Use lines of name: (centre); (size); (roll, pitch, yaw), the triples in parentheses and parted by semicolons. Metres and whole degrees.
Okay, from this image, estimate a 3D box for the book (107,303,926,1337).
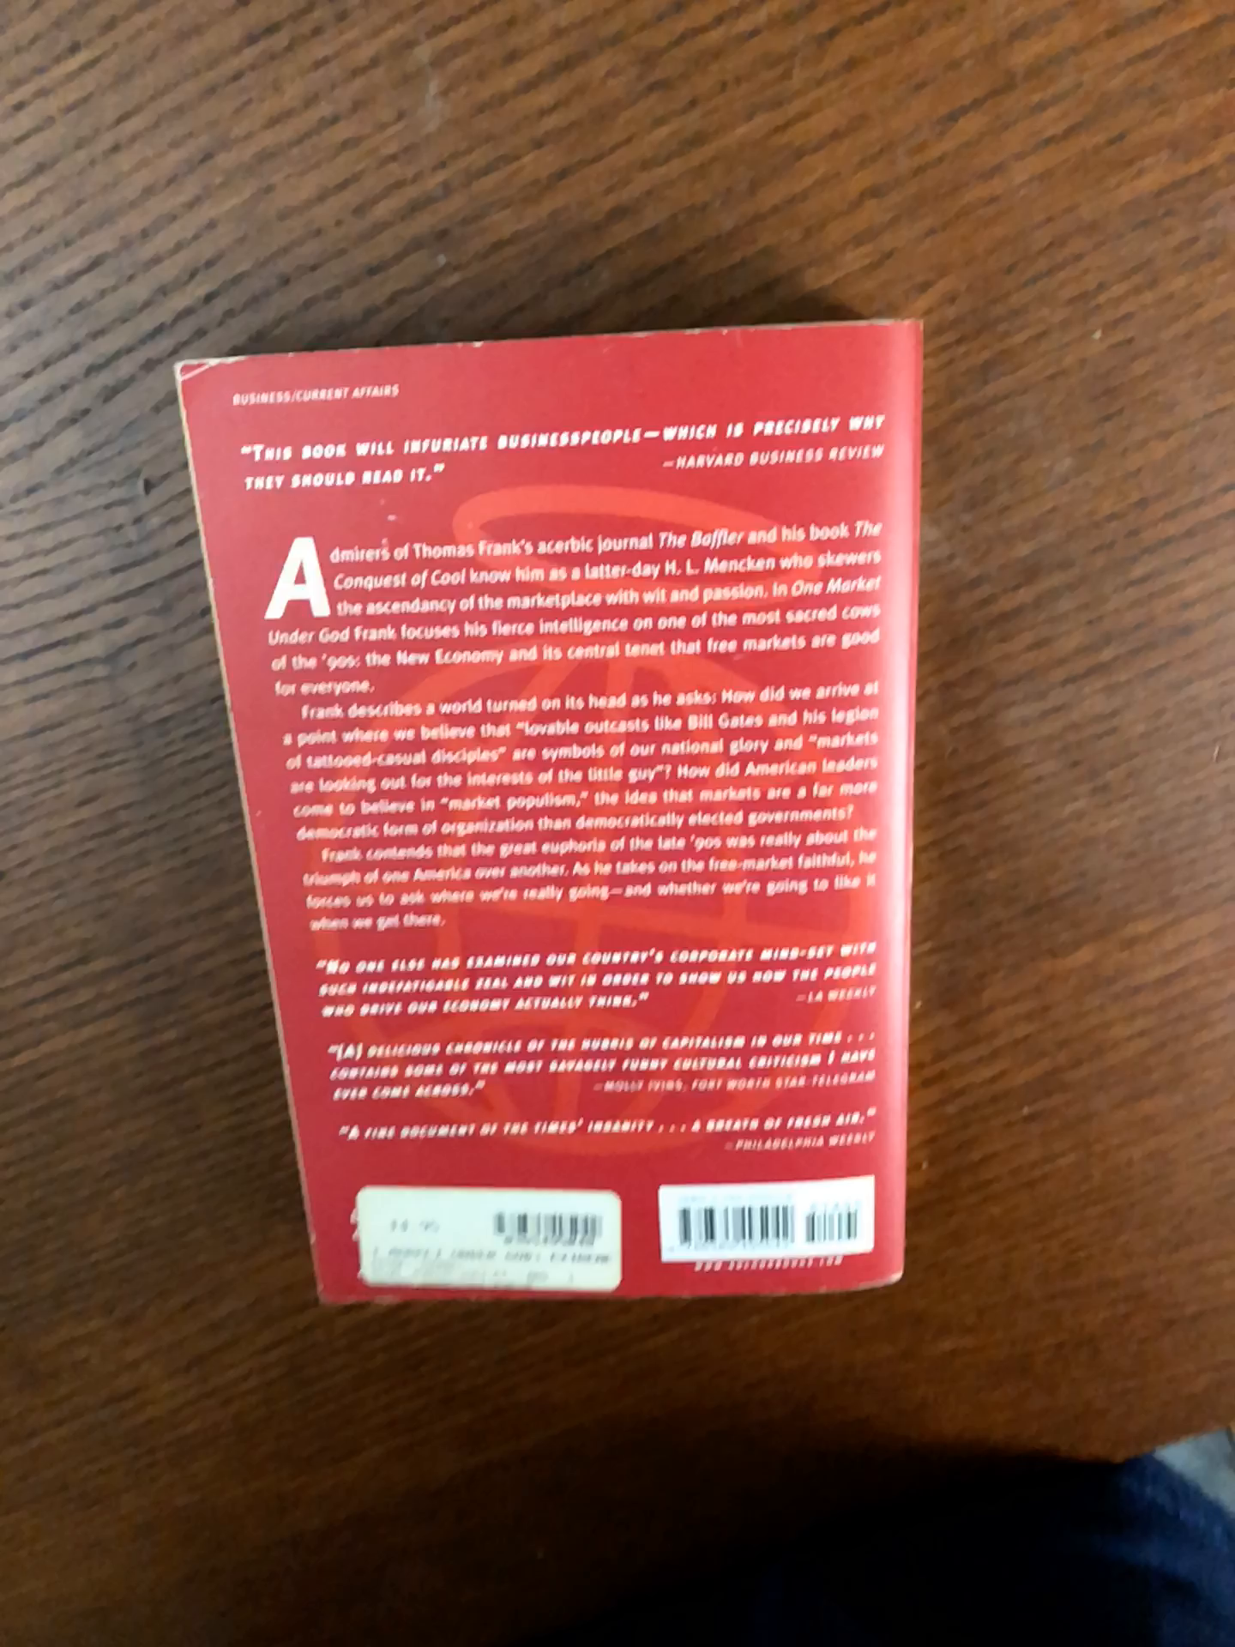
book: (-0.012, 0.009, 0.284); (0.140, 0.030, 0.210); (-2, 110, 2)
